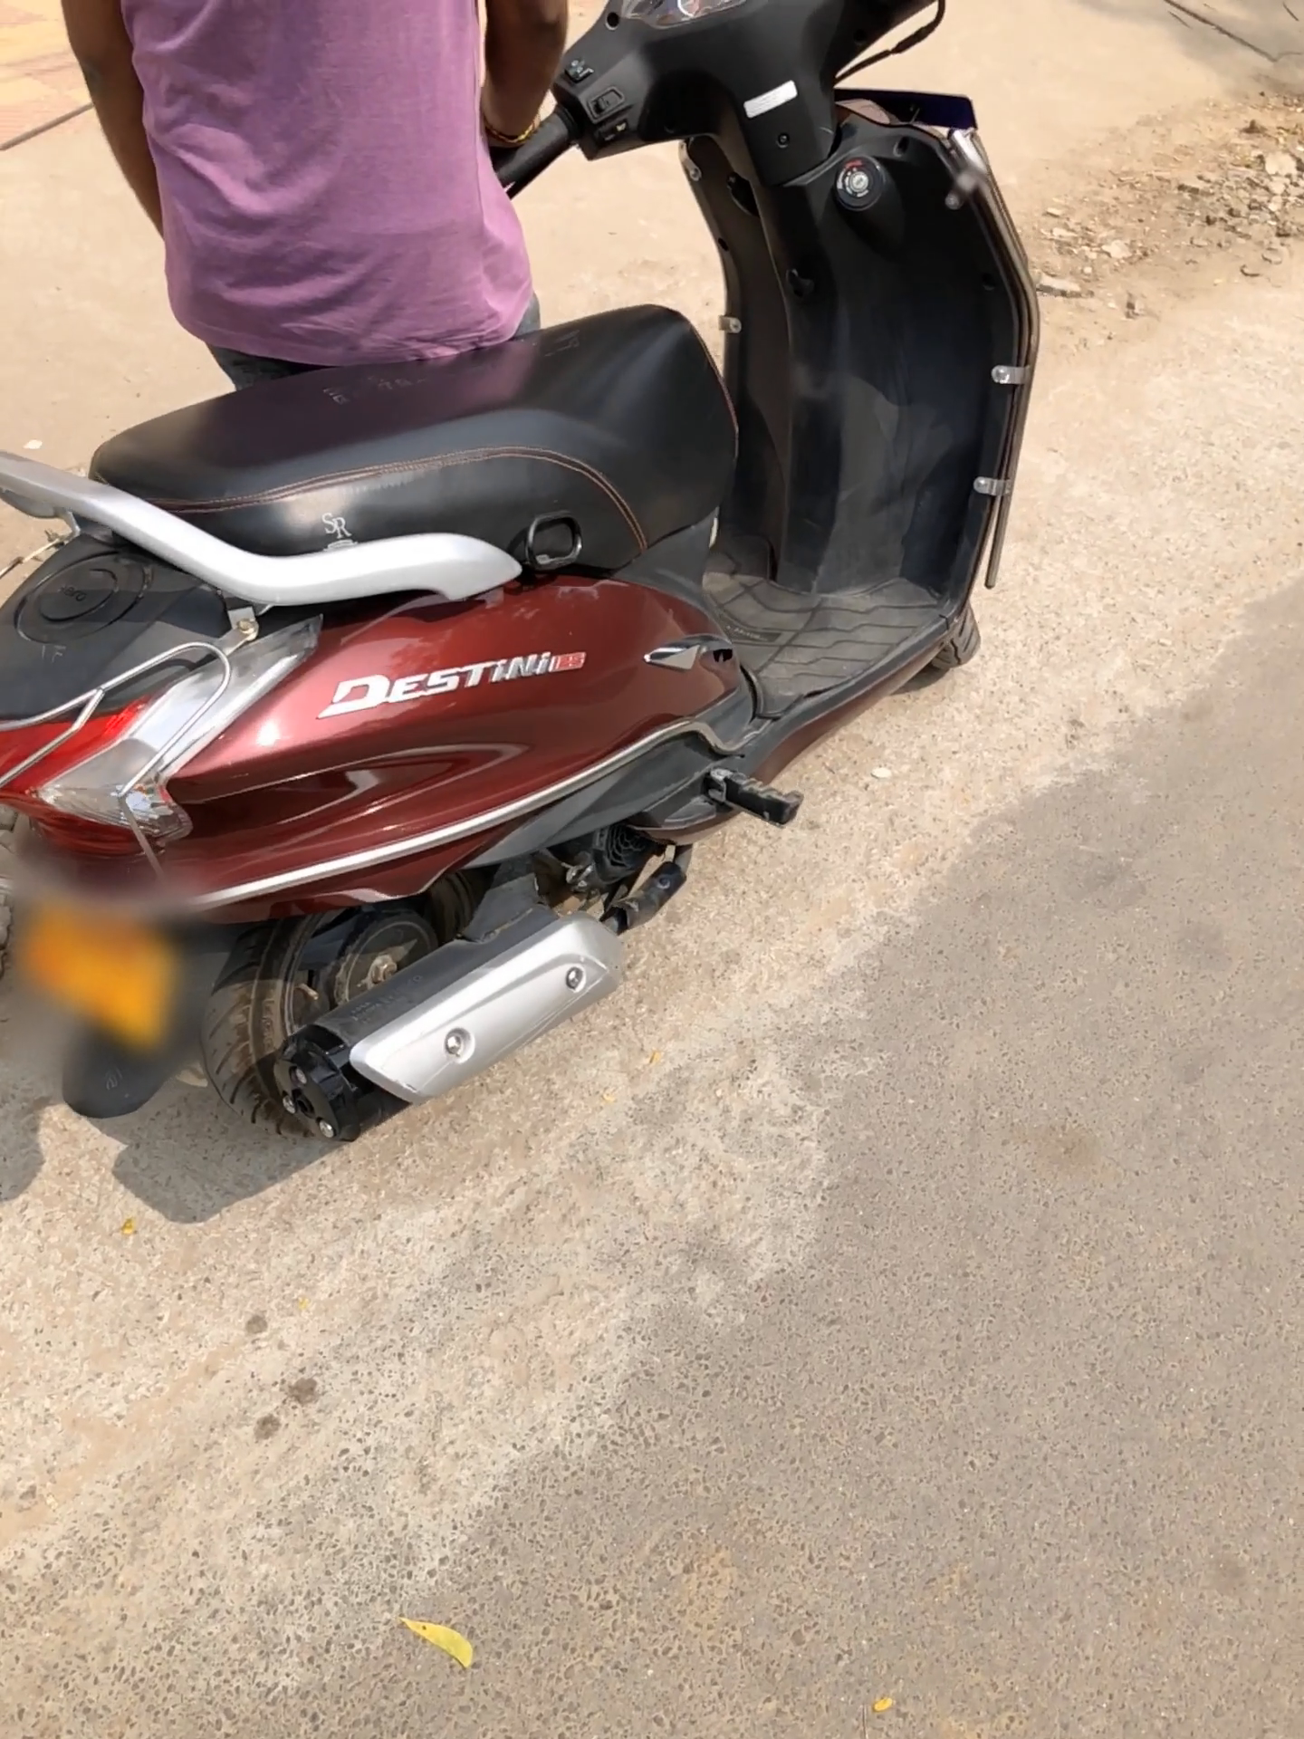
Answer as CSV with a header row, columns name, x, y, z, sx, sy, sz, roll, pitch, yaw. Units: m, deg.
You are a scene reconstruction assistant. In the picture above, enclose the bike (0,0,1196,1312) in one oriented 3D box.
name,x,y,z,sx,sy,sz,roll,pitch,yaw
bike,-0.075,-0.526,1.807,0.675,1.125,1.625,27,50,23
